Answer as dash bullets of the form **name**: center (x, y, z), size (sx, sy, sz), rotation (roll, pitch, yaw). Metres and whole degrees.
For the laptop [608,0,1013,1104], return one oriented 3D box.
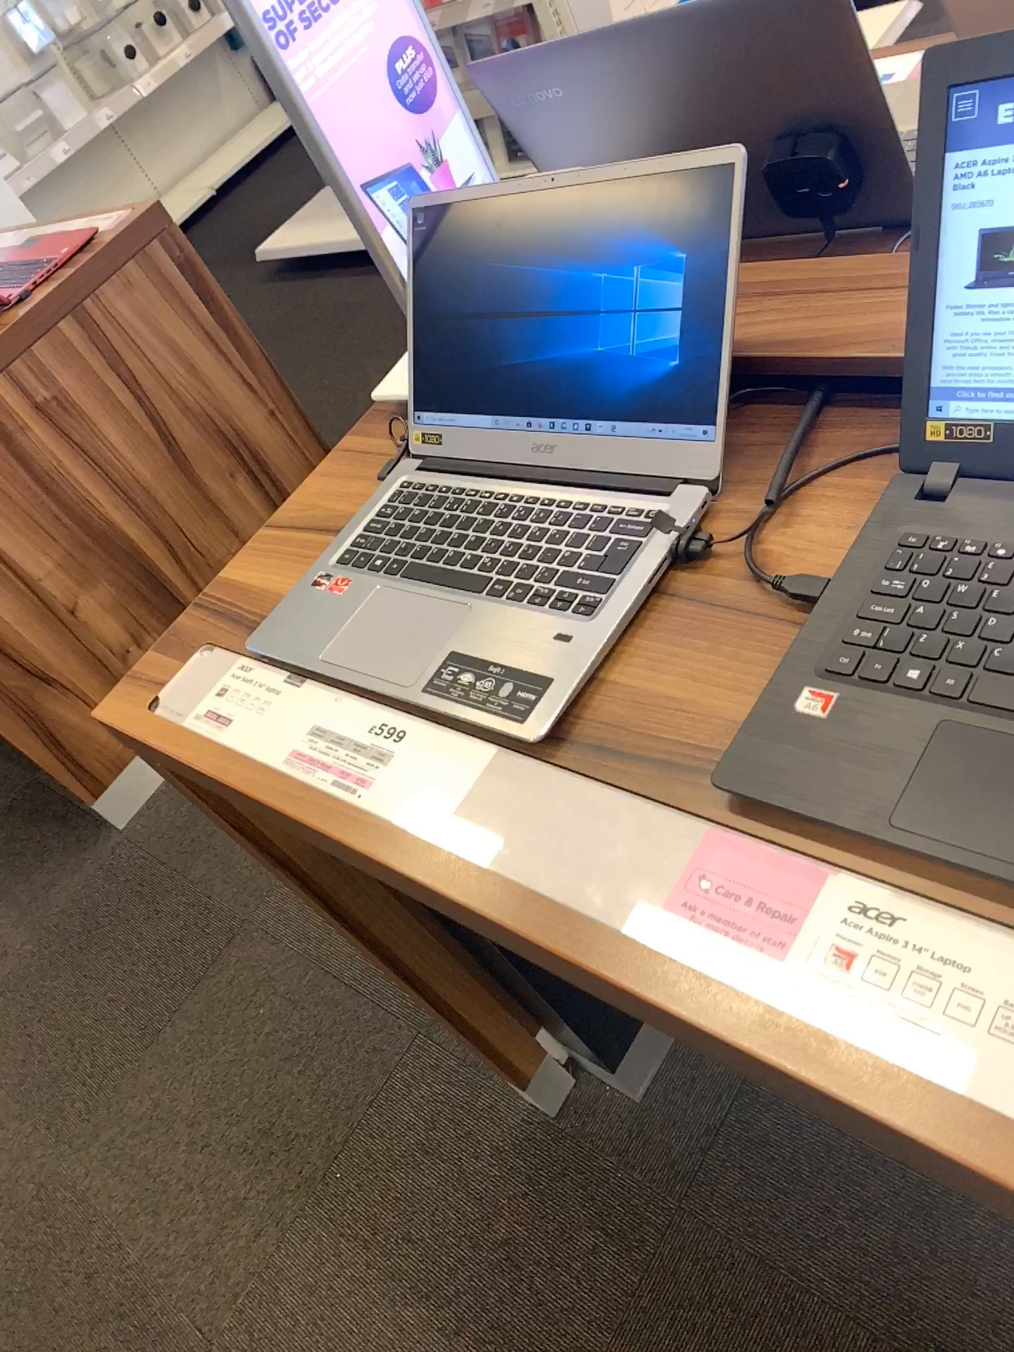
- **laptop**: center (0.308, -0.110, 0.426), size (0.372, 0.191, 0.357), rotation (12, 59, 39)

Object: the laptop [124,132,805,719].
- **laptop**: center (-0.025, -0.189, 0.739), size (0.308, 0.153, 0.360), rotation (15, 60, 41)
